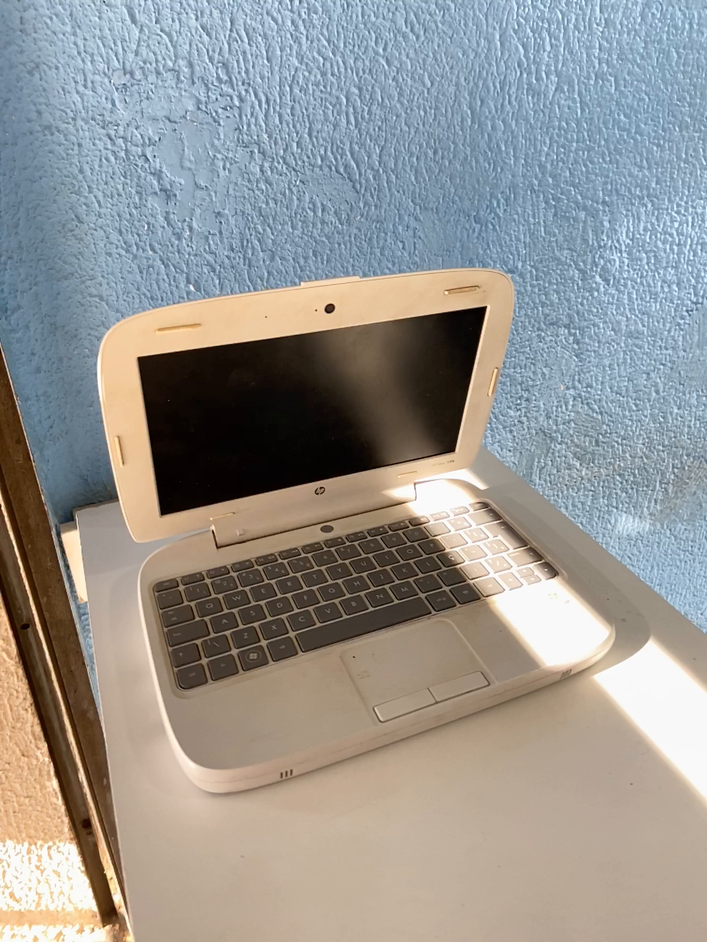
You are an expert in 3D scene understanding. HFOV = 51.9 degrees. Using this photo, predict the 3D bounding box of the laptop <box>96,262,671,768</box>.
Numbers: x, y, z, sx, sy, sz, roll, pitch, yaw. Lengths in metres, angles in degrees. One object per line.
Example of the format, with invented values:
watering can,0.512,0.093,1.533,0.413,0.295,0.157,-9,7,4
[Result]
laptop,0.004,0.003,0.426,0.248,0.172,0.178,-13,33,-18
